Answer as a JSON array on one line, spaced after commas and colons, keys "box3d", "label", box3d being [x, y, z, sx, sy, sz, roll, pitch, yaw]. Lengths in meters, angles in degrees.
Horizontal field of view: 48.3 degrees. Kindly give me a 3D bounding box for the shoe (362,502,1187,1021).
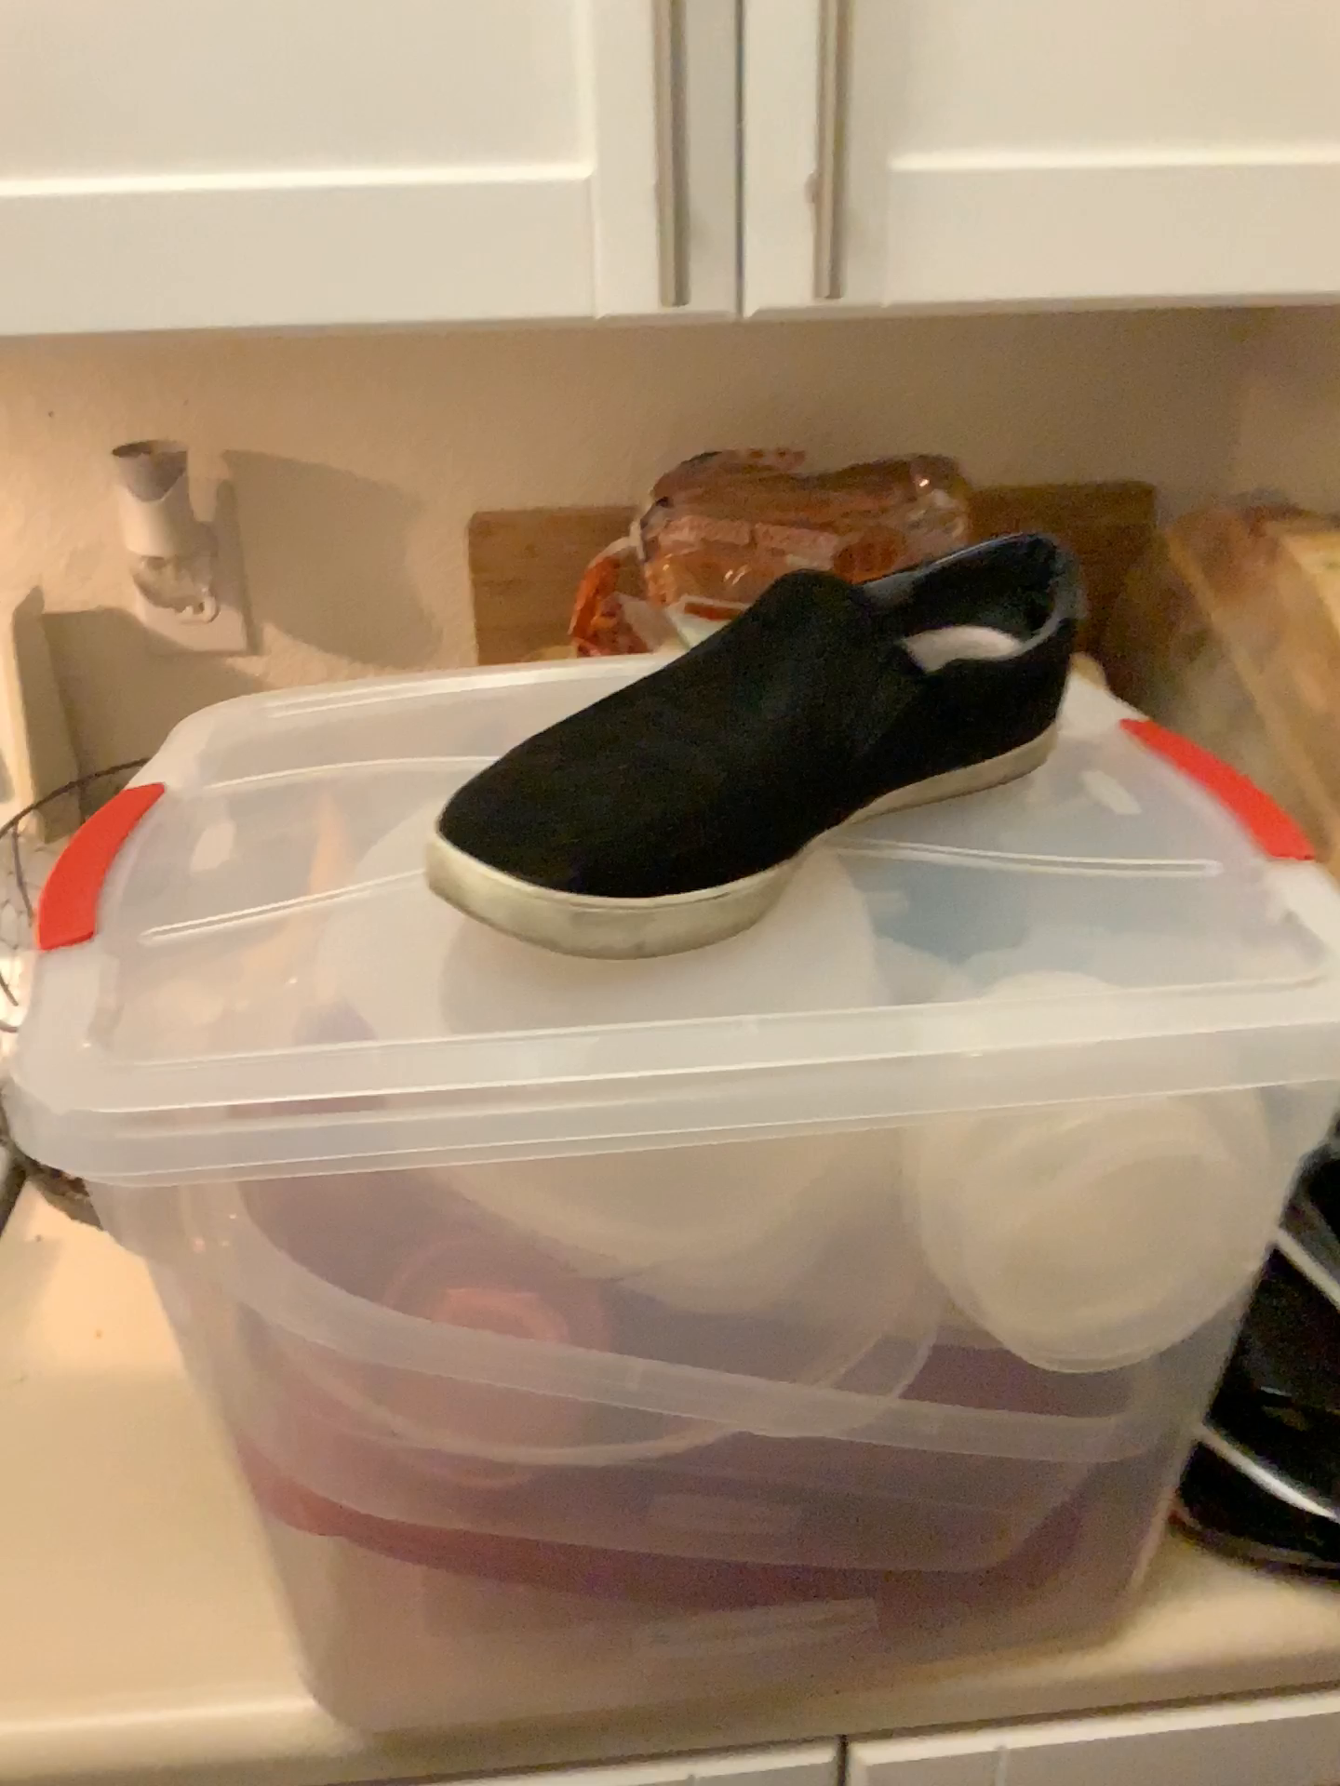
[{"box3d": [0.047, -0.059, 0.482, 0.270, 0.070, 0.100, -25, 36, -37], "label": "shoe"}]
